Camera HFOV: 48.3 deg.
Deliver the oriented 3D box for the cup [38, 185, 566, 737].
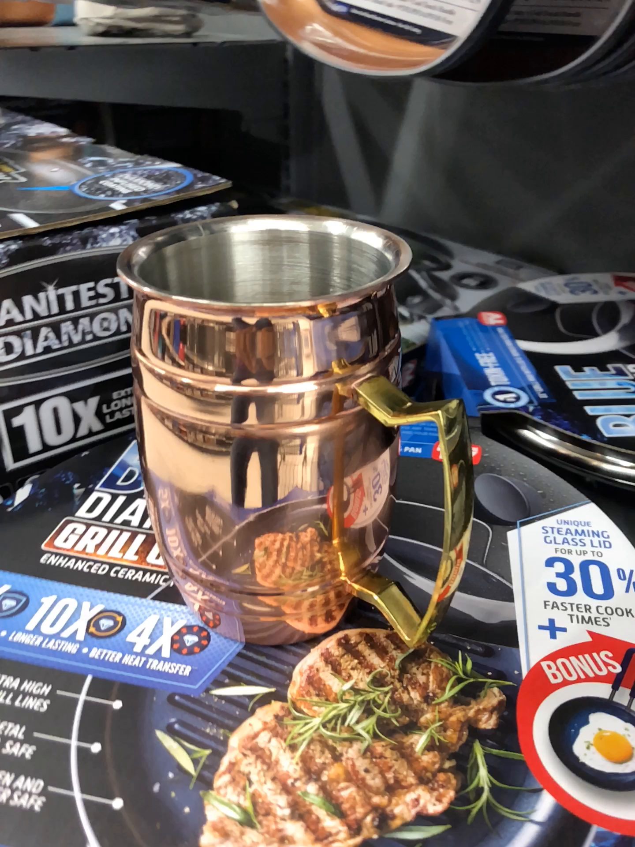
[{"bbox_3d":[-0.005,0.002,0.239,0.127,0.126,0.086,20,36,28],"label":"cup"}]
